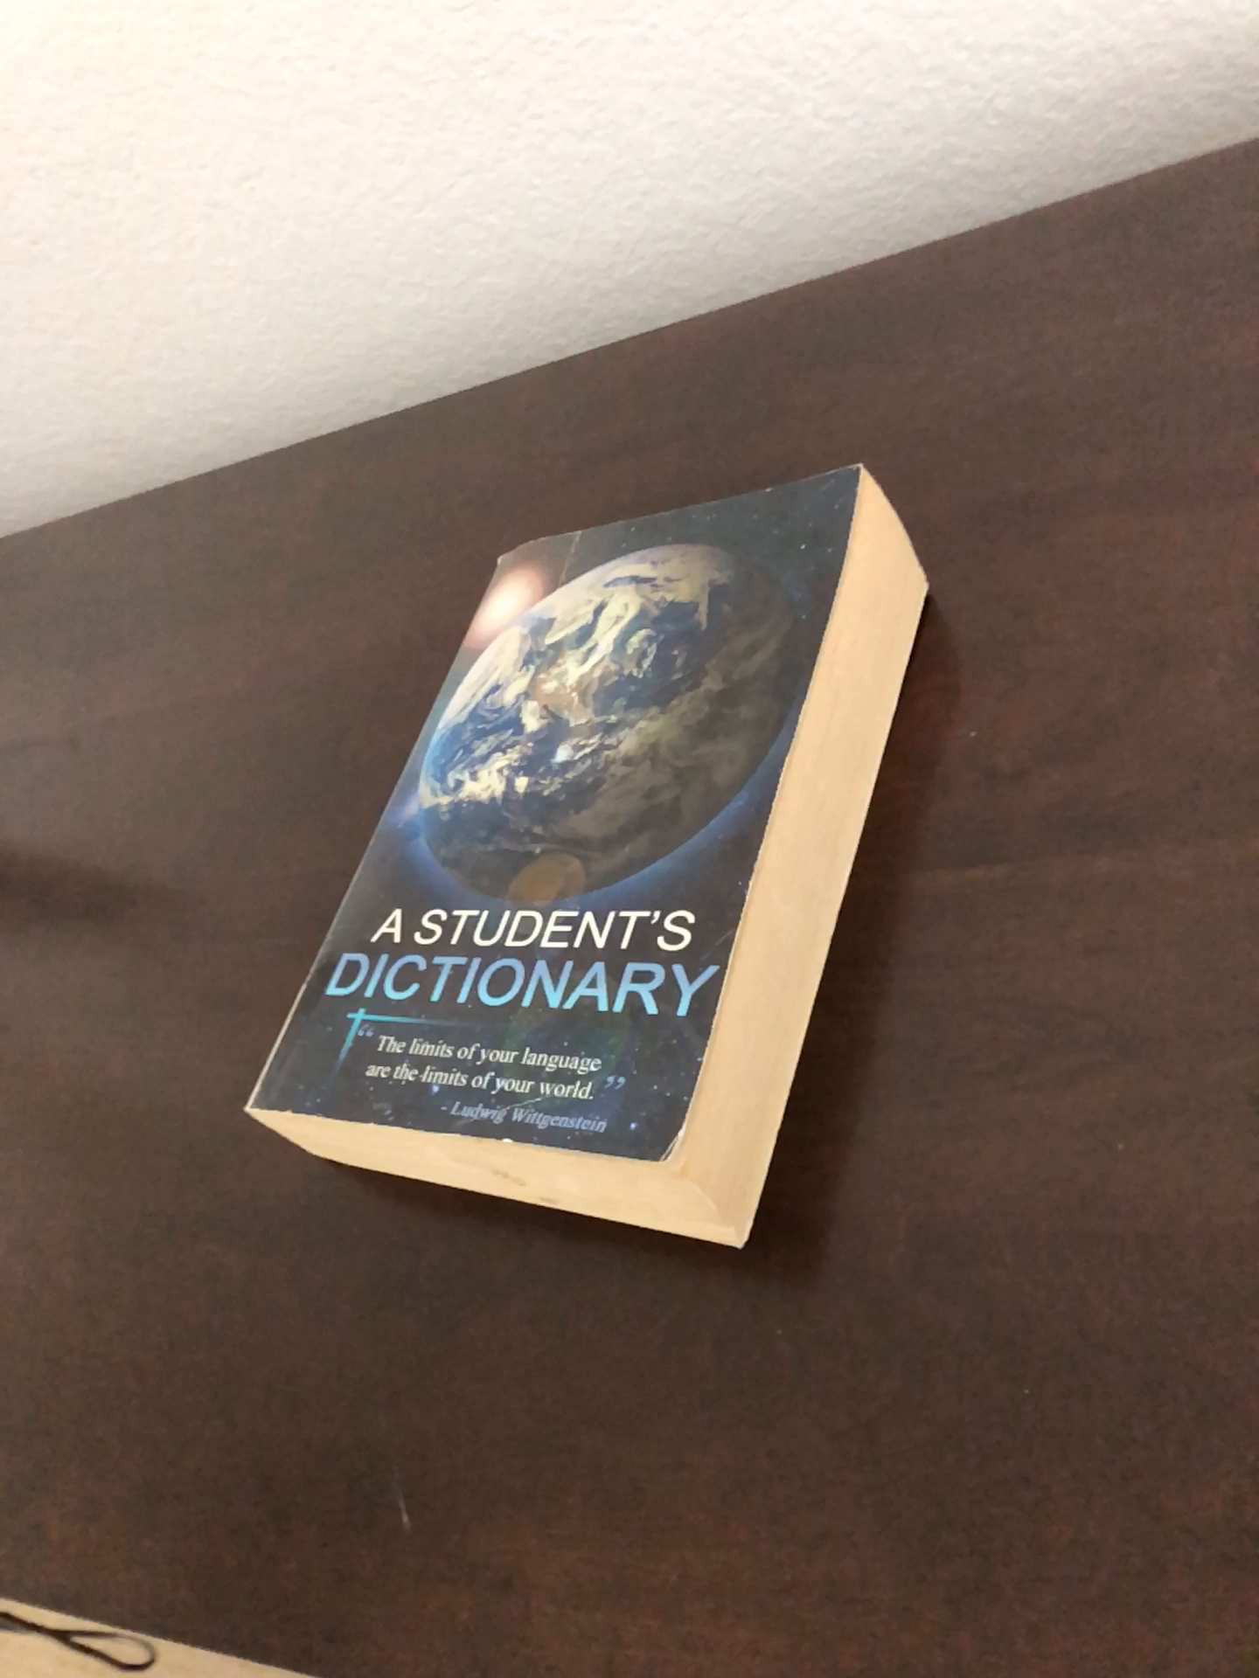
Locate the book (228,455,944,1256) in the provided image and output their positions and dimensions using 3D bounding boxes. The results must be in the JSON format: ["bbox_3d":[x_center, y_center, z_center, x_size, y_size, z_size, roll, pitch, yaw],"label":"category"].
[{"bbox_3d":[-0.008,-0.002,0.378,0.141,0.040,0.202,-4,54,38],"label":"book"}]
